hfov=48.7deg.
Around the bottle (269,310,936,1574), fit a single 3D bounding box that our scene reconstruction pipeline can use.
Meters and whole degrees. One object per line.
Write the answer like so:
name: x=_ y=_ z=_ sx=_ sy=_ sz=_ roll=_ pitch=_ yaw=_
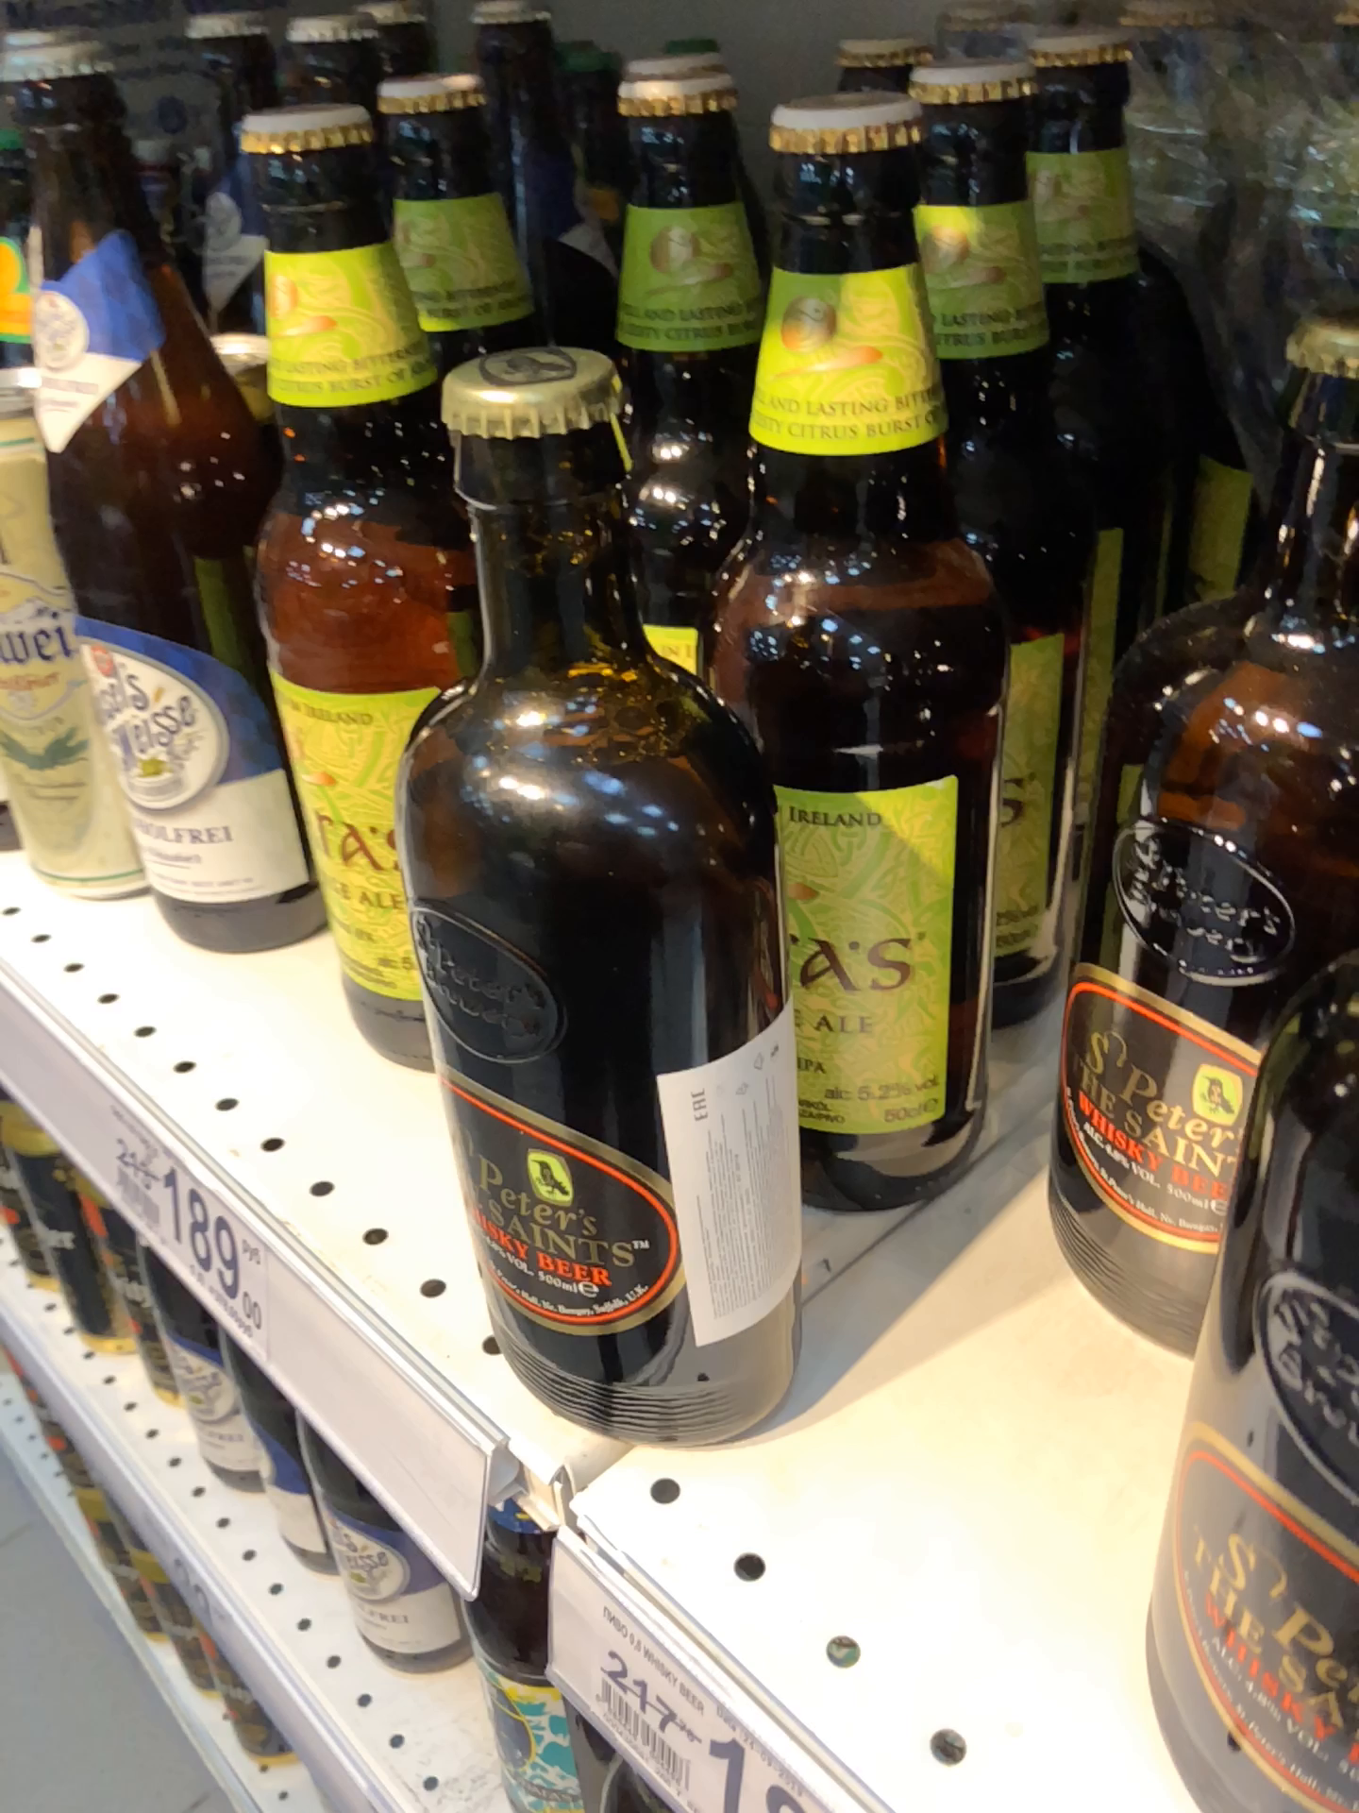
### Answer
bottle: x=-0.008 y=0.014 z=0.296 sx=0.060 sy=0.229 sz=0.090 roll=-29 pitch=40 yaw=-34
